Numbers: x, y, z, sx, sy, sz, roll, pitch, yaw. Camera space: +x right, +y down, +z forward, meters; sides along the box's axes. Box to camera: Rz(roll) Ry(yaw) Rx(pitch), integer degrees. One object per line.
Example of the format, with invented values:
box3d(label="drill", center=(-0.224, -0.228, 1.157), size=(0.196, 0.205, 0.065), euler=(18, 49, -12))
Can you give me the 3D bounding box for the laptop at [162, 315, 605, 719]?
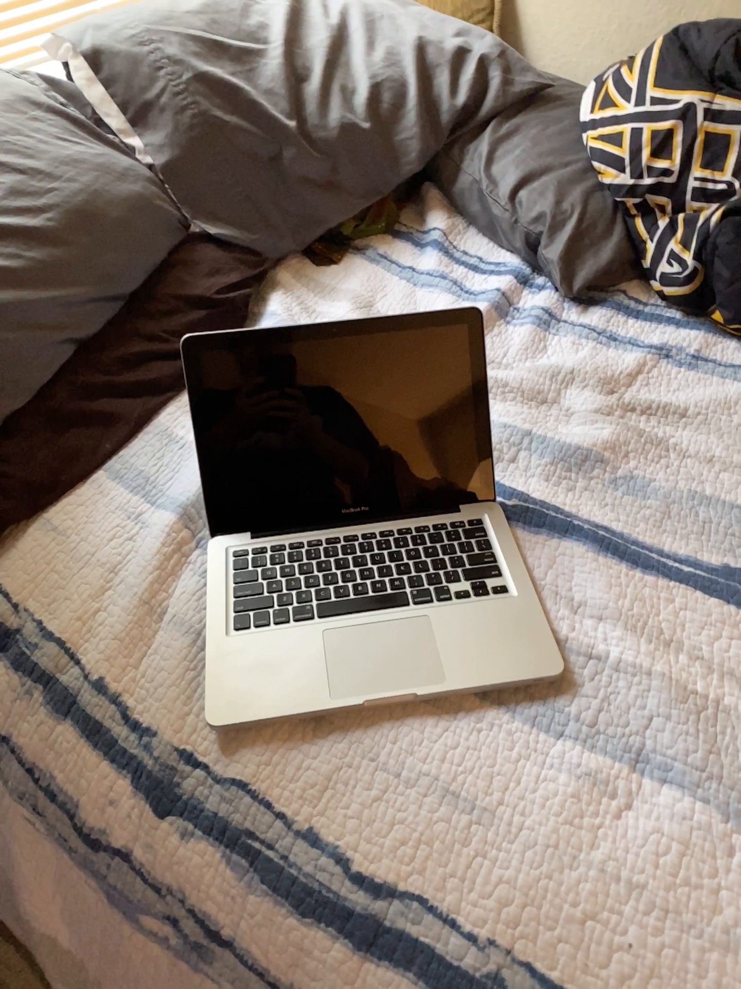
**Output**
box3d(label="laptop", center=(-0.012, 0.001, 0.726), size=(0.319, 0.169, 0.348), euler=(-7, 43, -5))
